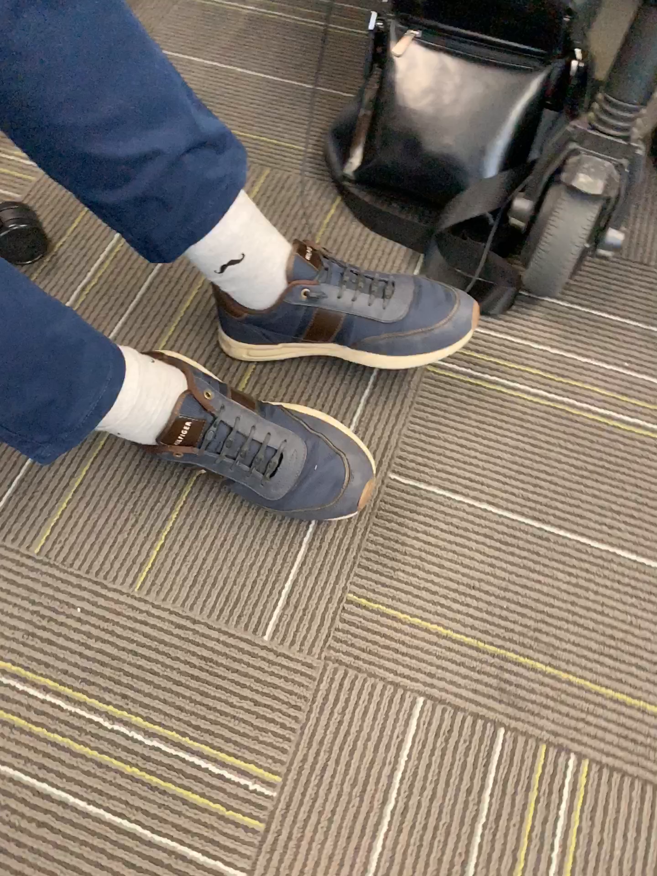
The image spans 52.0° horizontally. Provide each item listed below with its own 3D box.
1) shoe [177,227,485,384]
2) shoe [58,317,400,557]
[{"bbox_3d":[0.008,-0.145,0.730,0.300,0.100,0.120,5,60,18],"label":"shoe"},{"bbox_3d":[-0.107,-0.006,0.678,0.321,0.100,0.120,24,92,26],"label":"shoe"}]
